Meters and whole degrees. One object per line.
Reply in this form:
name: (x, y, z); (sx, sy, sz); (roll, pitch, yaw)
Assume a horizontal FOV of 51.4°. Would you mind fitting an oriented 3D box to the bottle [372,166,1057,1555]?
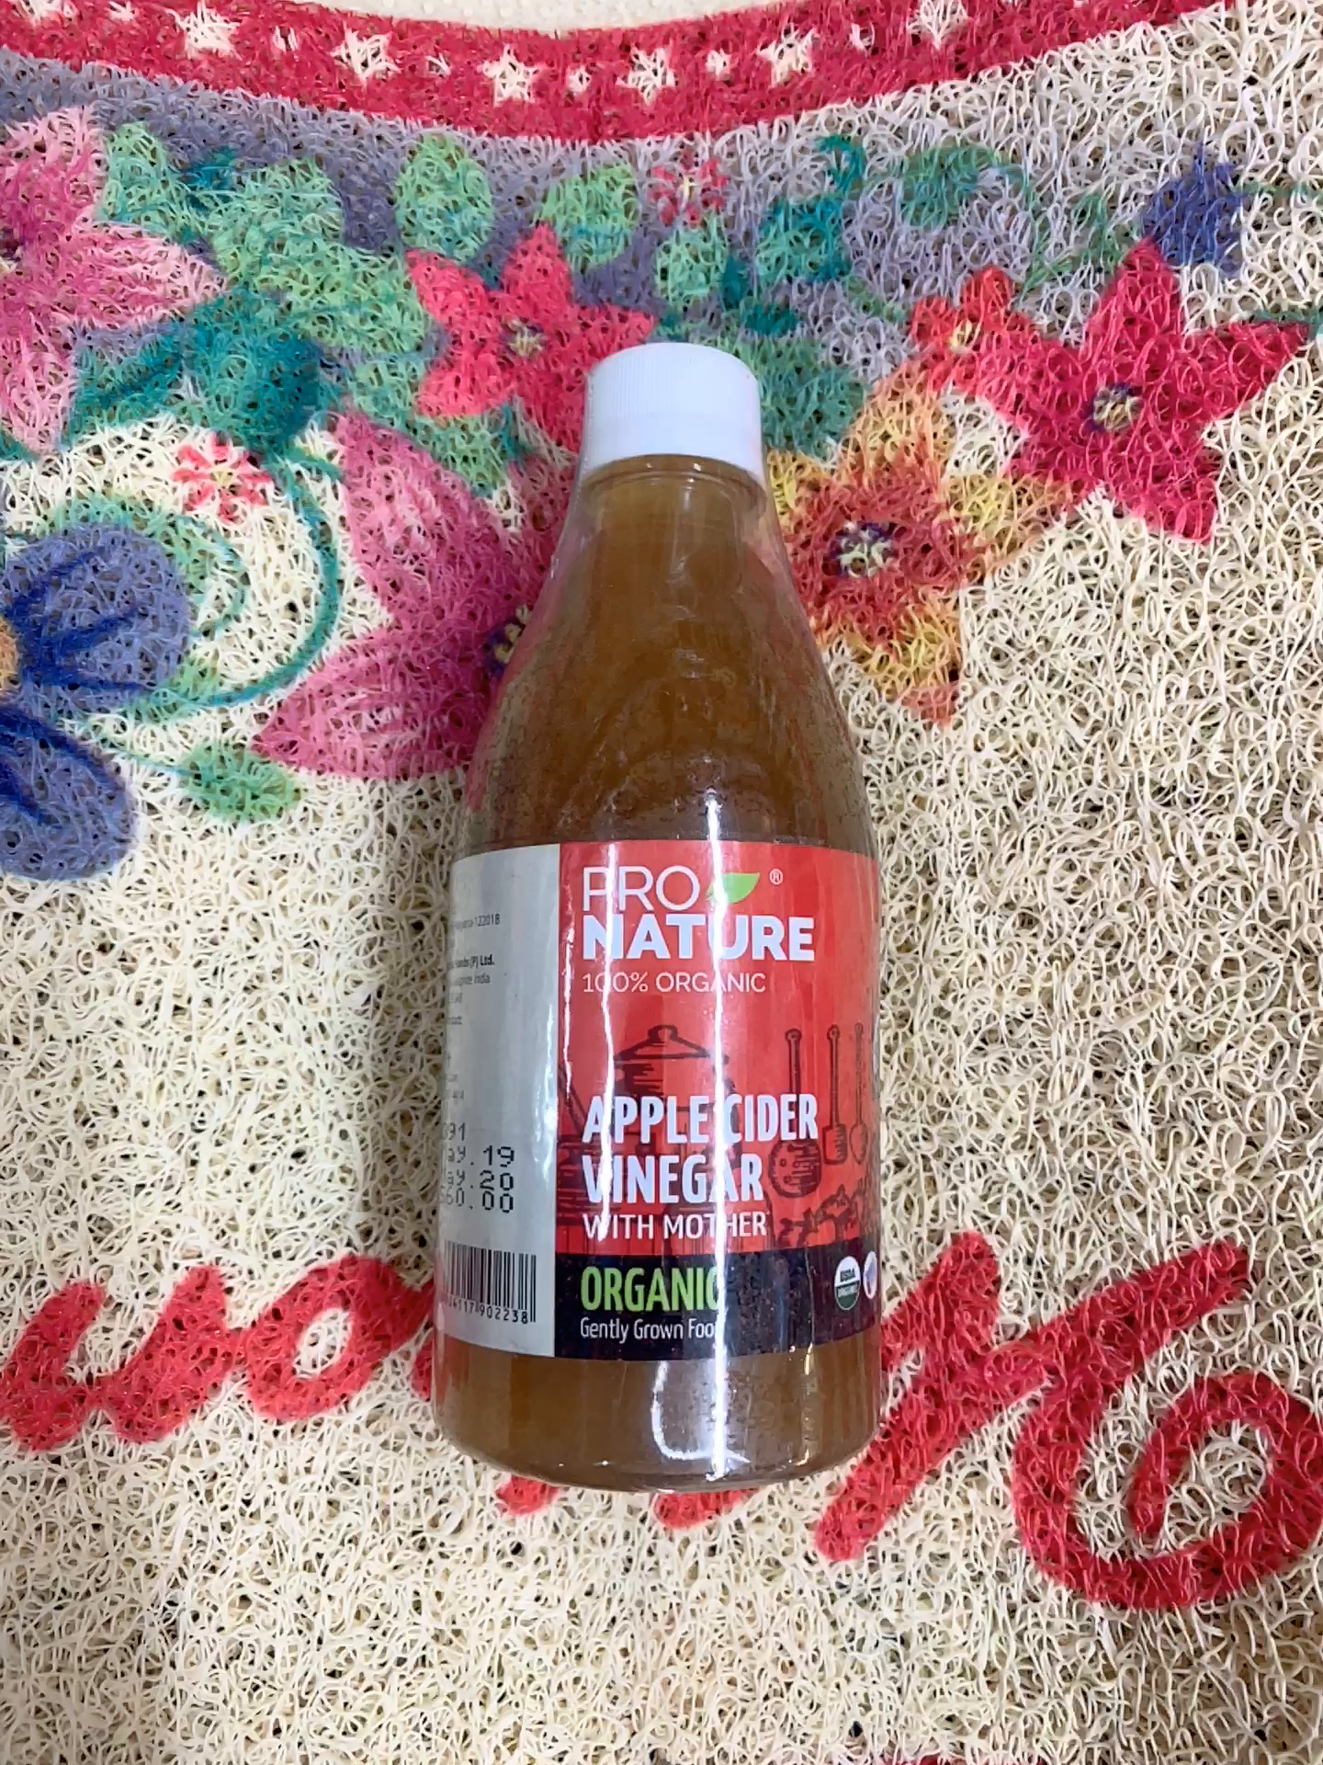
bottle: (0.003, -0.001, 0.192); (0.080, 0.050, 0.160); (2, 91, -13)
